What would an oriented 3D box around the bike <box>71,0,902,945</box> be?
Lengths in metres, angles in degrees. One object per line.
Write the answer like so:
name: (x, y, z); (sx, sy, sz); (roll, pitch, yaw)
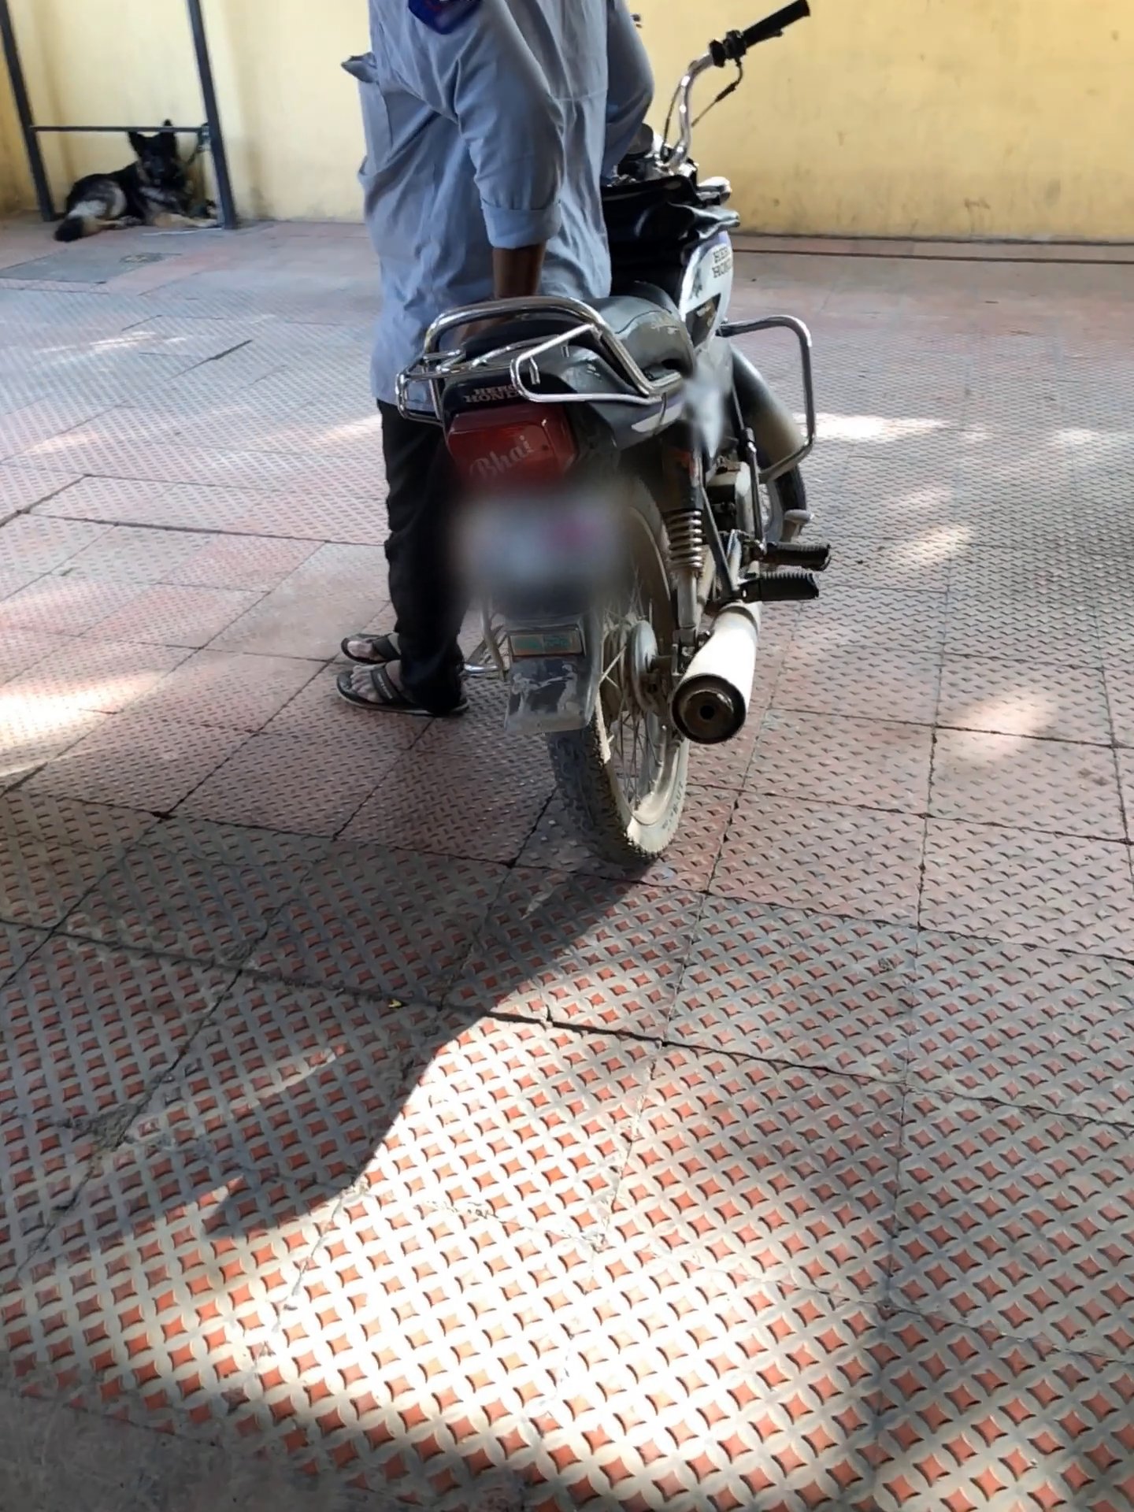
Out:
bike: (0.036, -0.587, 2.002); (0.816, 1.062, 1.308); (4, 34, 10)
